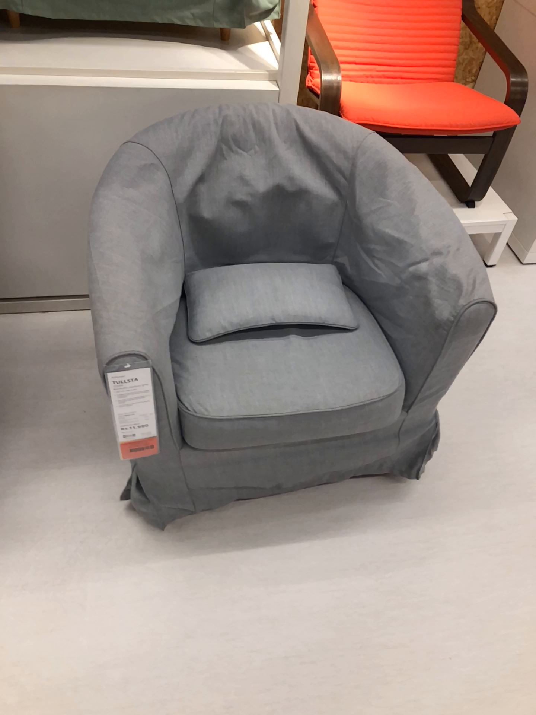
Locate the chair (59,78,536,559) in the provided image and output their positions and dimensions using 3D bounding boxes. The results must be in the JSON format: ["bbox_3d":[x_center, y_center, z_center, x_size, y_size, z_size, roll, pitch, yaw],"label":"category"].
[{"bbox_3d":[0.023,-0.111,1.419,0.871,0.795,0.724,-7,49,-13],"label":"chair"}]
